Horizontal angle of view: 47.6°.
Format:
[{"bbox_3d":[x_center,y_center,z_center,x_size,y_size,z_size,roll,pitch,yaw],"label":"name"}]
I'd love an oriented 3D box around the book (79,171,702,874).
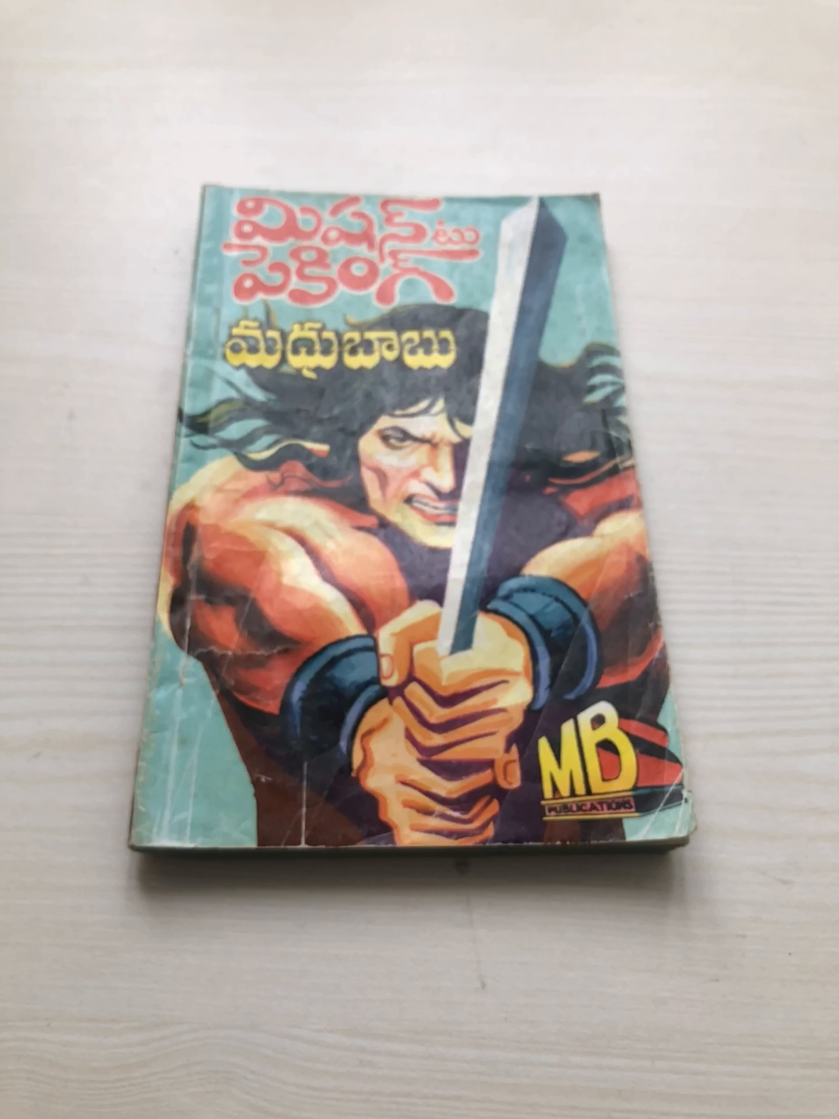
[{"bbox_3d":[-0.006,-0.015,0.200,0.100,0.030,0.151,0,63,-2],"label":"book"}]
